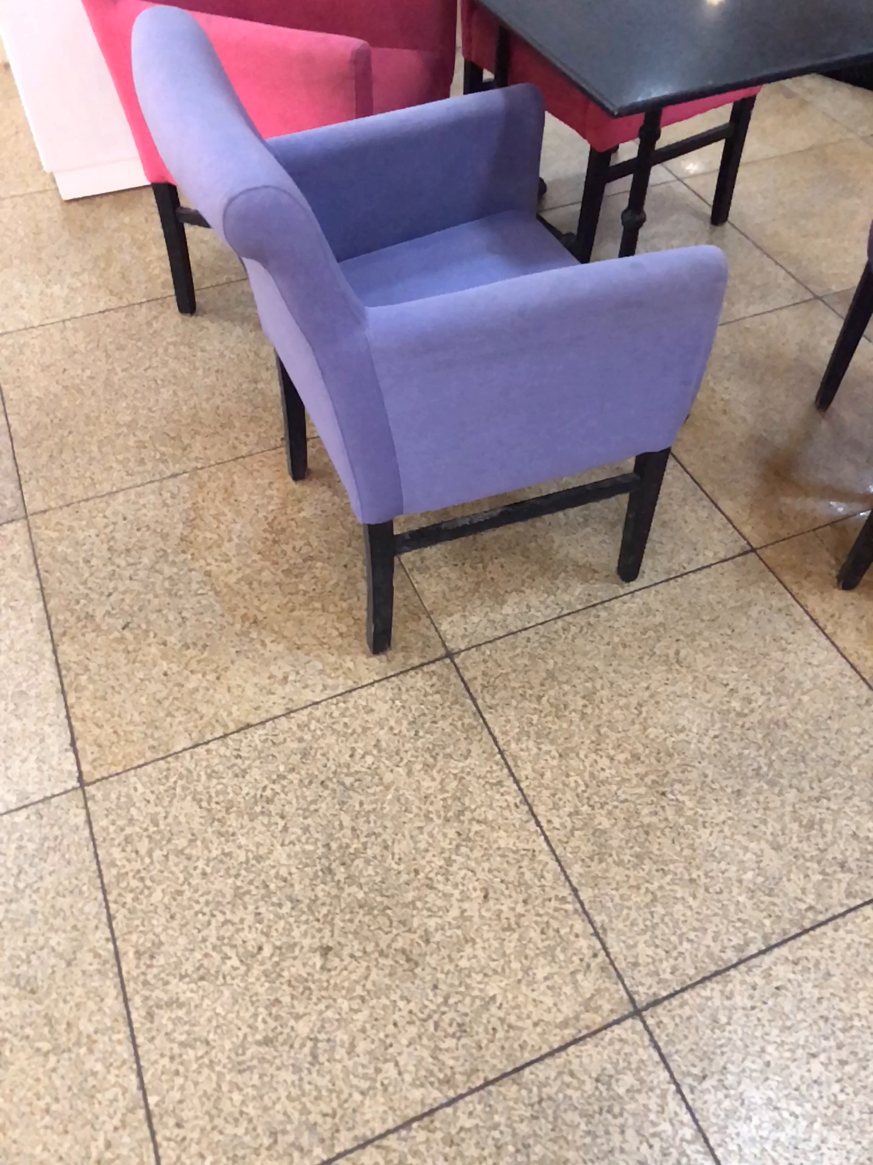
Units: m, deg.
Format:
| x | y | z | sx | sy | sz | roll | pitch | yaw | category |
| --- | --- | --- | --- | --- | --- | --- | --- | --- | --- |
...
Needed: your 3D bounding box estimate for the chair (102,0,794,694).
| x | y | z | sx | sy | sz | roll | pitch | yaw | category |
| --- | --- | --- | --- | --- | --- | --- | --- | --- | --- |
| -0.023 | -0.379 | 1.445 | 0.660 | 0.817 | 0.572 | -16 | 52 | -13 | chair |
